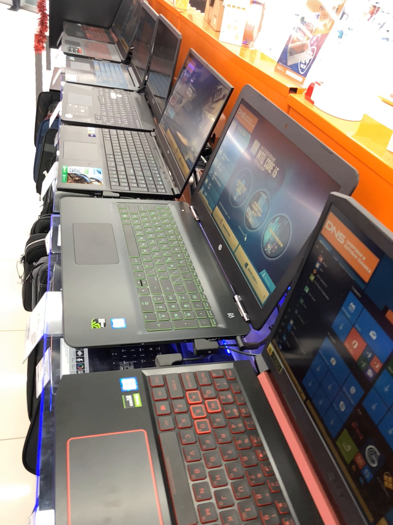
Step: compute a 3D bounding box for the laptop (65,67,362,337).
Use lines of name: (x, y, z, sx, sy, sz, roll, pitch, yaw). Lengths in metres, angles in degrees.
laptop: (-0.028, -0.107, 0.646, 0.311, 0.235, 0.359, 0, 34, -19)
